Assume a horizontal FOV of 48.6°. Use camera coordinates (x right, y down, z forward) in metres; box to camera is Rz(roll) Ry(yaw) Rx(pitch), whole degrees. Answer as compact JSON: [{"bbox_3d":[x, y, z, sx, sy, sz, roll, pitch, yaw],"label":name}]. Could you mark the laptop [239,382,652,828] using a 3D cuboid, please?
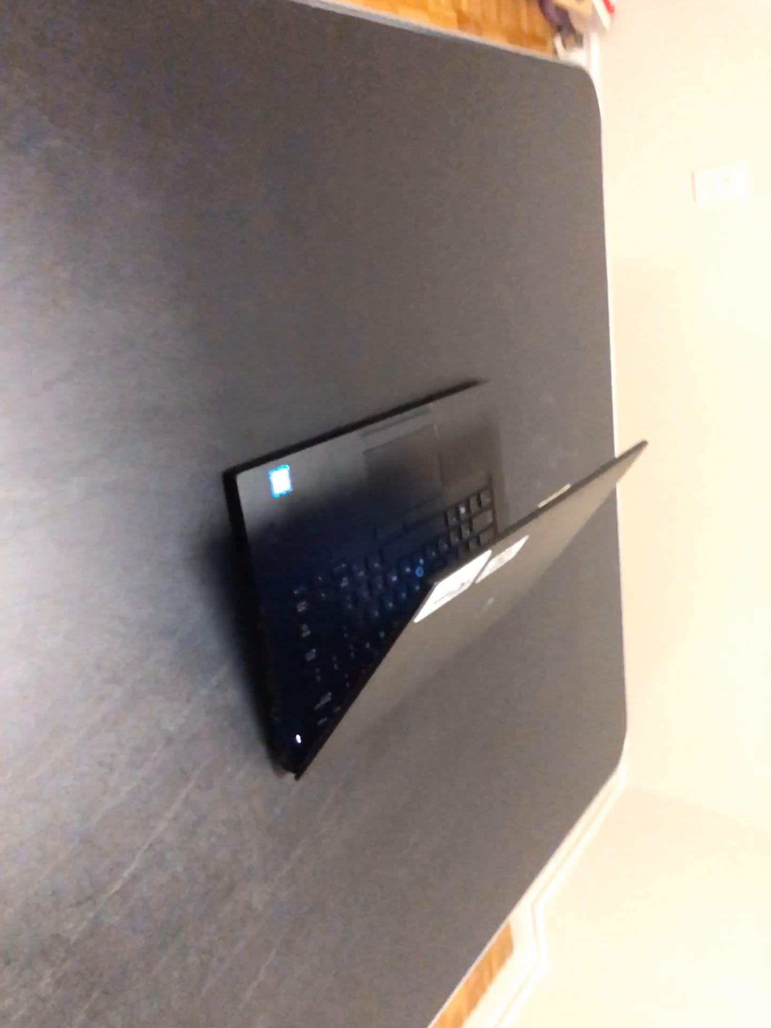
[{"bbox_3d":[0.073,0.037,0.647,0.320,0.142,0.220,-27,116,-50],"label":"laptop"}]
